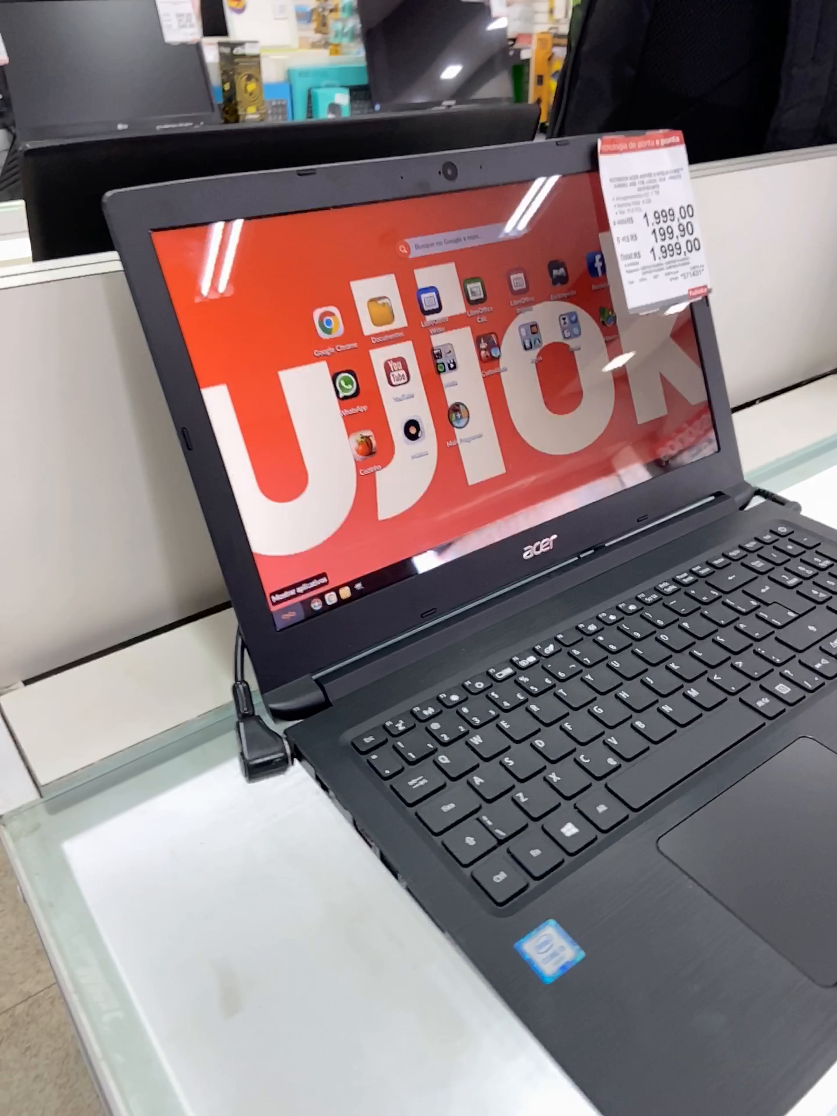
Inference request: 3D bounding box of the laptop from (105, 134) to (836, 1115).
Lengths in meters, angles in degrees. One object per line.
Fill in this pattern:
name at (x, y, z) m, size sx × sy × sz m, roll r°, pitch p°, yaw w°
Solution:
laptop at (0.129, -0.050, 0.413) m, size 0.393 × 0.230 × 0.371 m, roll -22°, pitch 37°, yaw -30°
